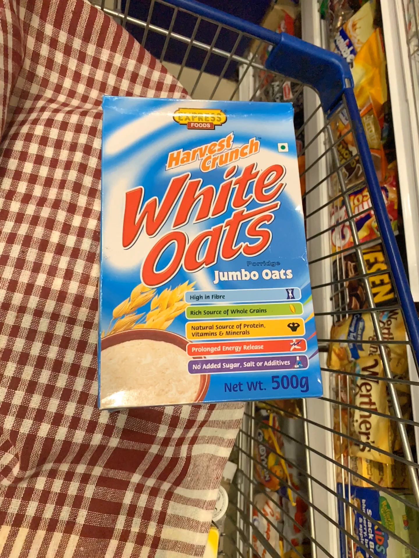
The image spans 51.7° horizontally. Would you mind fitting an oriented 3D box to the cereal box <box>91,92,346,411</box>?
[{"bbox_3d":[-0.001,-0.019,0.301,0.150,0.060,0.200,0,77,-10],"label":"cereal box"}]
